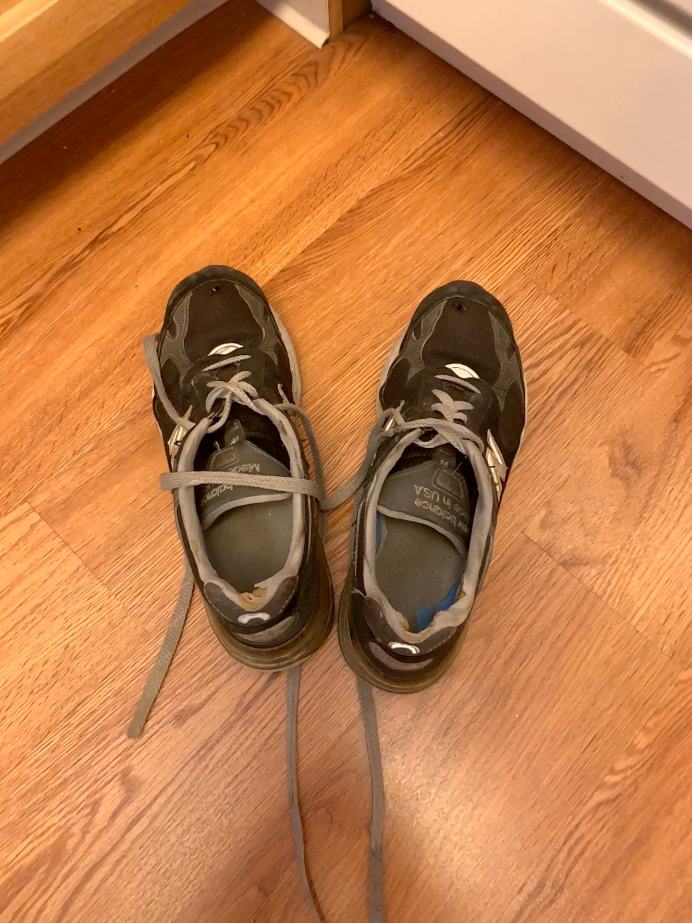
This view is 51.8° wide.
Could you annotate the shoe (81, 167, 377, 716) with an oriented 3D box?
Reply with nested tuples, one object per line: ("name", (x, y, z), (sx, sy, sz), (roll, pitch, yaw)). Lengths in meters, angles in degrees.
("shoe", (-0.072, -0.014, 0.432), (0.120, 0.100, 0.300), (-11, 71, -3))

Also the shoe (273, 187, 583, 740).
("shoe", (0.055, -0.003, 0.434), (0.120, 0.100, 0.300), (11, 71, 5))
